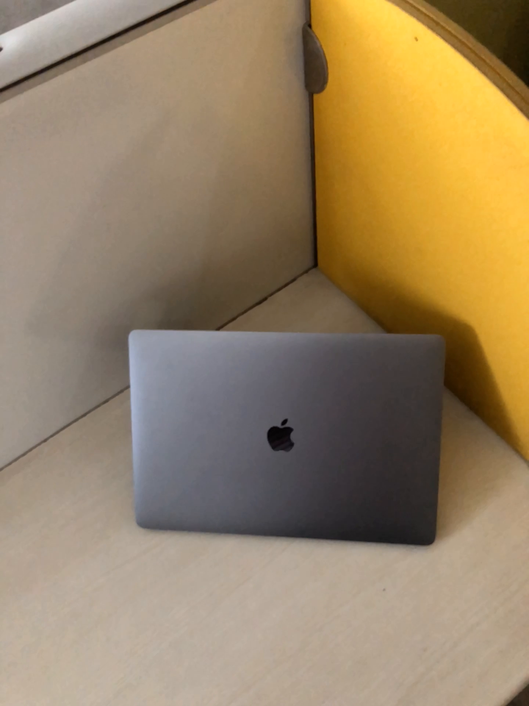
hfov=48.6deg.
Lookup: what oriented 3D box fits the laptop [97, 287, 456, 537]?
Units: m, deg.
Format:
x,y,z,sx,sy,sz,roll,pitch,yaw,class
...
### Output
x,y,z,sx,sy,sz,roll,pitch,yaw,class
0.022,0.067,0.685,0.344,0.152,0.236,1,60,6,laptop
